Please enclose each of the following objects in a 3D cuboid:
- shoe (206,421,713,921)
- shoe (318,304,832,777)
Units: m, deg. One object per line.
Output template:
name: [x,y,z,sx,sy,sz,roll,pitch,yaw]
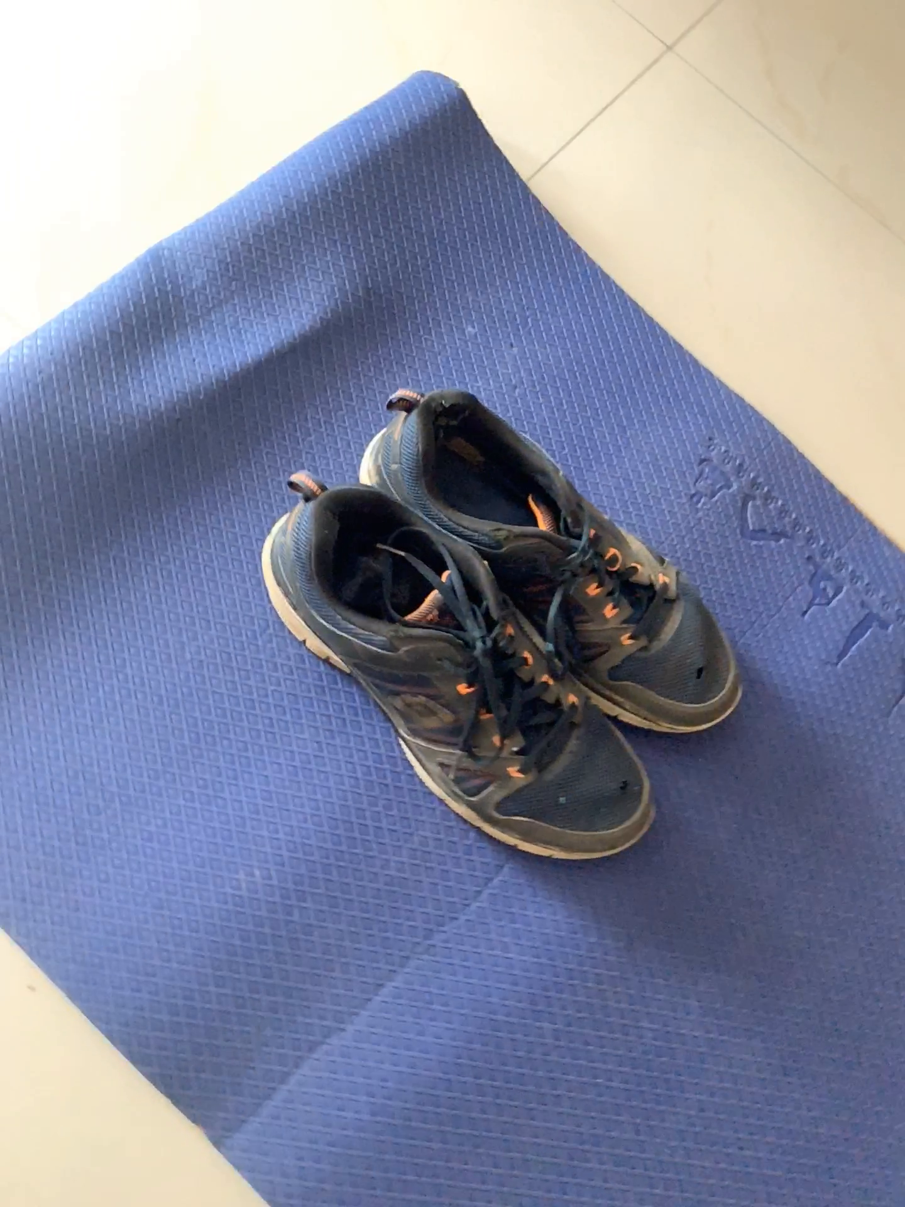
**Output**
shoe: [-0.004,0.047,0.589,0.320,0.100,0.100,44,64,3]
shoe: [0.071,-0.034,0.603,0.310,0.100,0.110,40,71,1]
